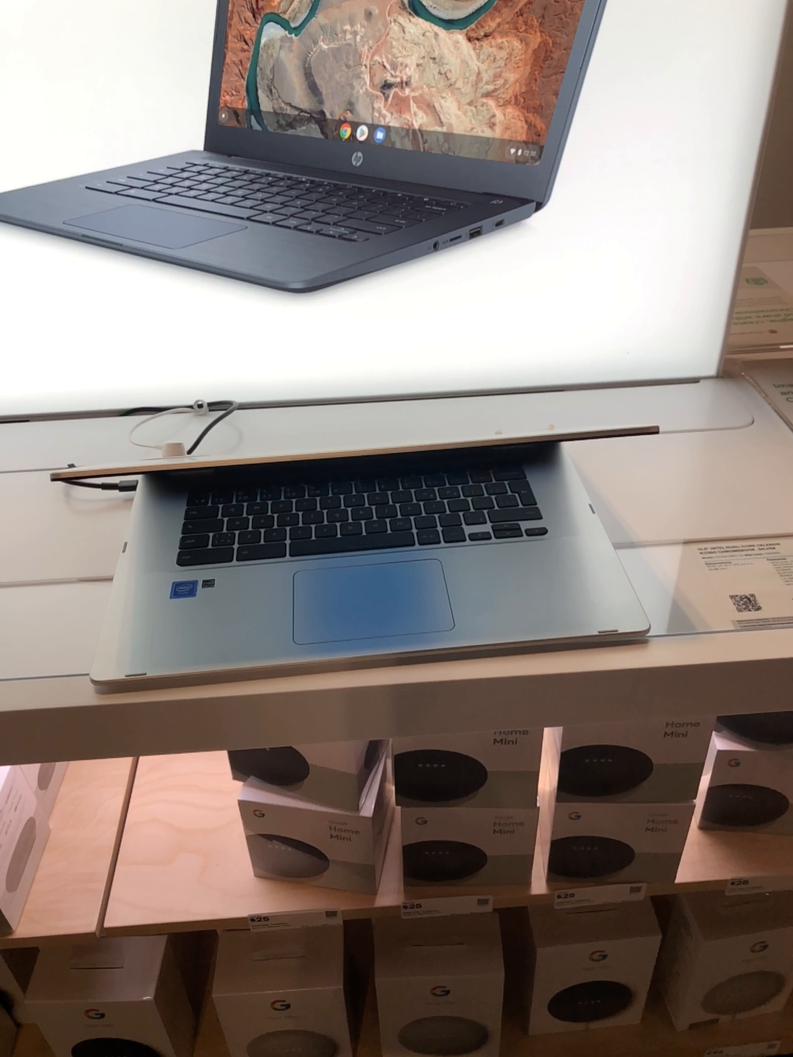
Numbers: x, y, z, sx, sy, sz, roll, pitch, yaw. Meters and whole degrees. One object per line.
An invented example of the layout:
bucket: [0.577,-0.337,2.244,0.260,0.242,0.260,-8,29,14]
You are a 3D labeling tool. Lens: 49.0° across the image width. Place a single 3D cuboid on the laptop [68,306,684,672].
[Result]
laptop: [-0.020,-0.039,0.599,0.340,0.113,0.222,-5,38,-1]
